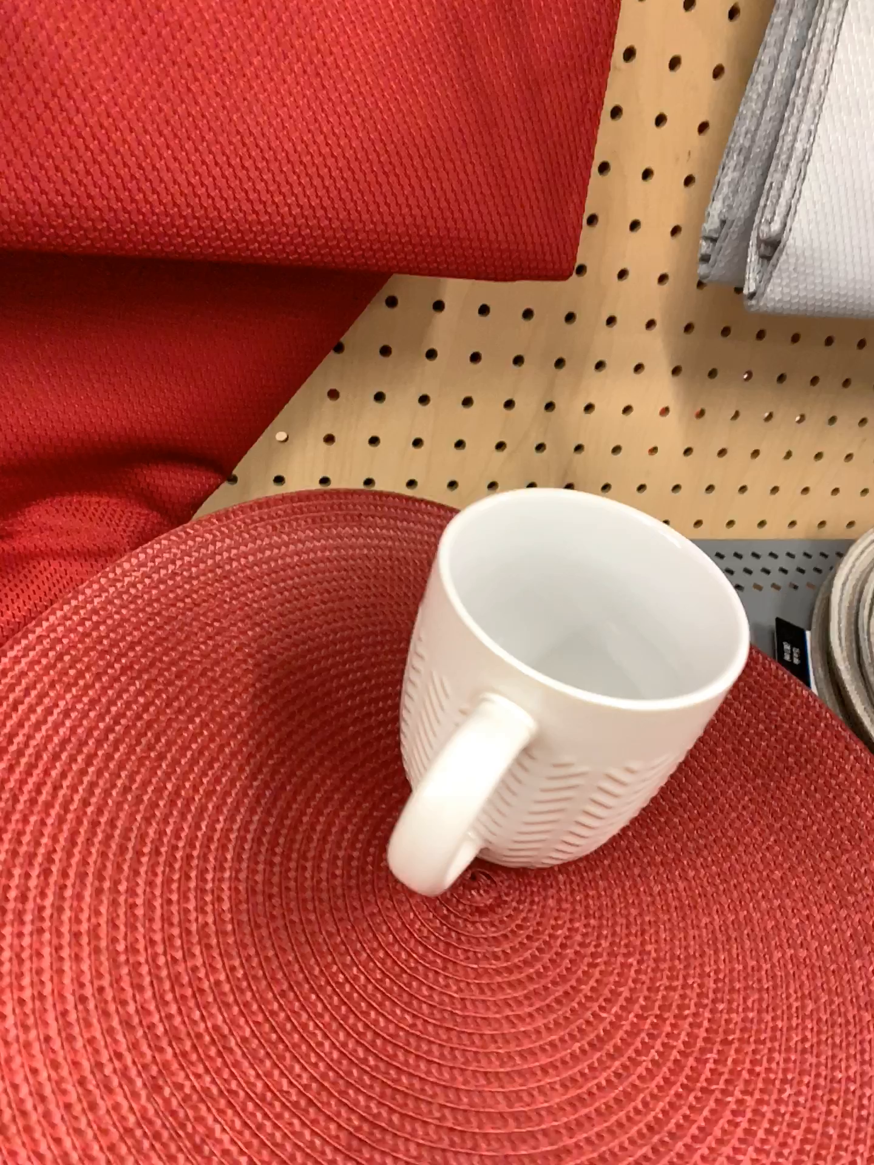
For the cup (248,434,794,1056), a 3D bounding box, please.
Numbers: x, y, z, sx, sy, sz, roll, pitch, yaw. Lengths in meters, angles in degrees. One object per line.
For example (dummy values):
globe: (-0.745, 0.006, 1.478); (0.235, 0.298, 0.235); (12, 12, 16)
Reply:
cup: (0.031, 0.033, 0.273); (0.100, 0.090, 0.141); (20, 38, 23)
